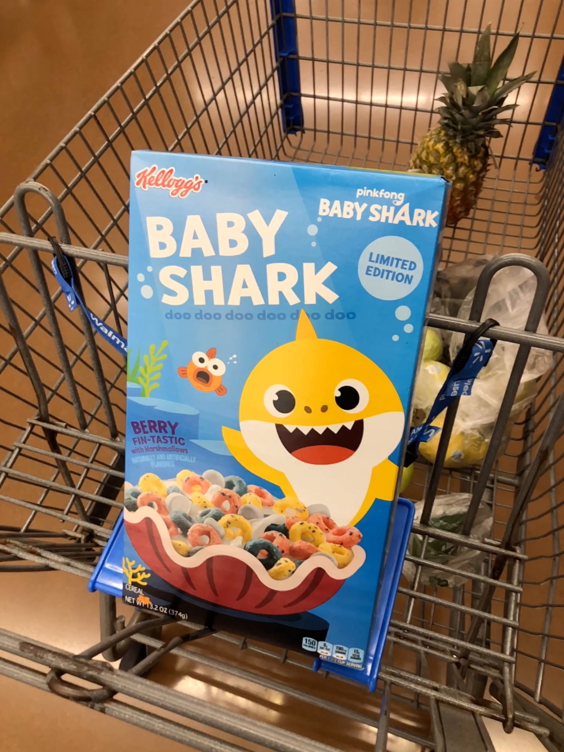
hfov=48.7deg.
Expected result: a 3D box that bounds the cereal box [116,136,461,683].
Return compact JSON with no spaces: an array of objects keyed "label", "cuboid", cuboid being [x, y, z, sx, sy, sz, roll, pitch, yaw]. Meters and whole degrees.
[{"label":"cereal box","cuboid":[-0.009,0.026,0.432,0.190,0.340,0.070,11,20,14]}]
